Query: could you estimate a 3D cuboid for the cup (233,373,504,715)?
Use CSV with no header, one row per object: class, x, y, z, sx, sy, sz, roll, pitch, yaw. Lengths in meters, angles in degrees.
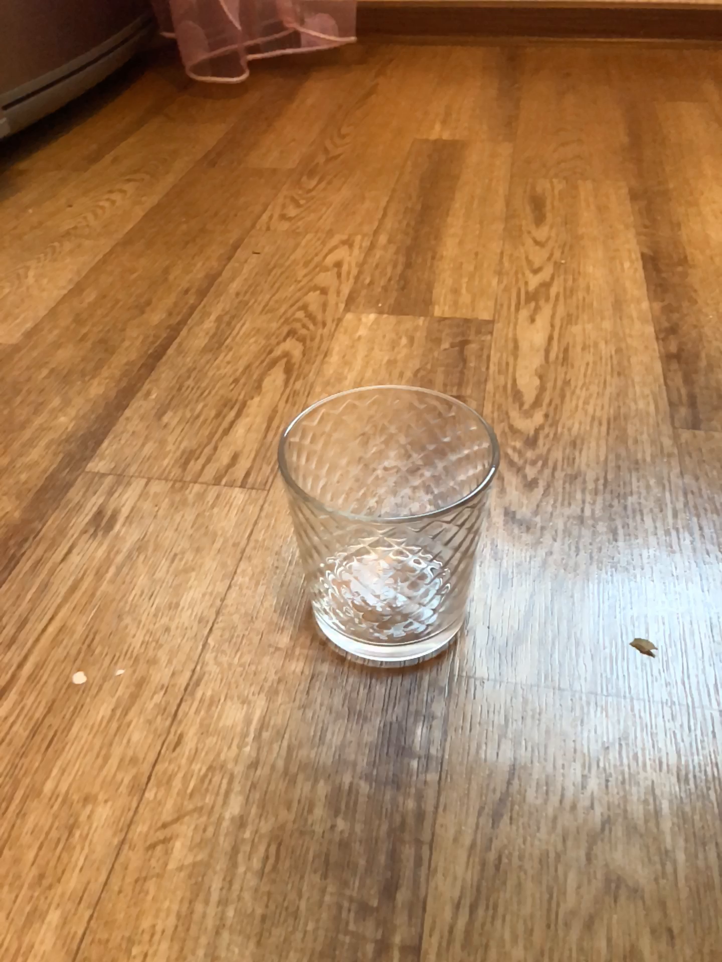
cup,0.008,0.022,0.300,0.080,0.090,0.080,-1,40,1
